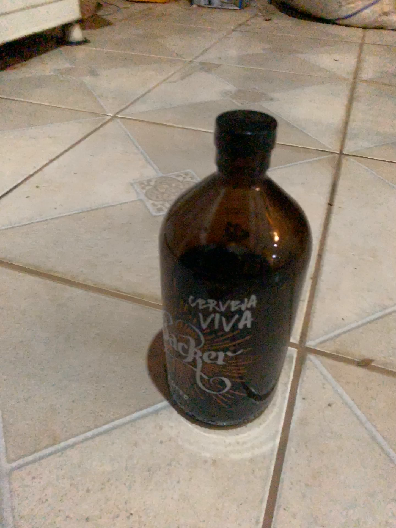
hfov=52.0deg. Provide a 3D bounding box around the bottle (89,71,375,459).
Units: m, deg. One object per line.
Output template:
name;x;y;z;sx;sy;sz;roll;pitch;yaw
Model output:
bottle;0.013;0.009;0.258;0.090;0.209;0.100;-26;47;-27
